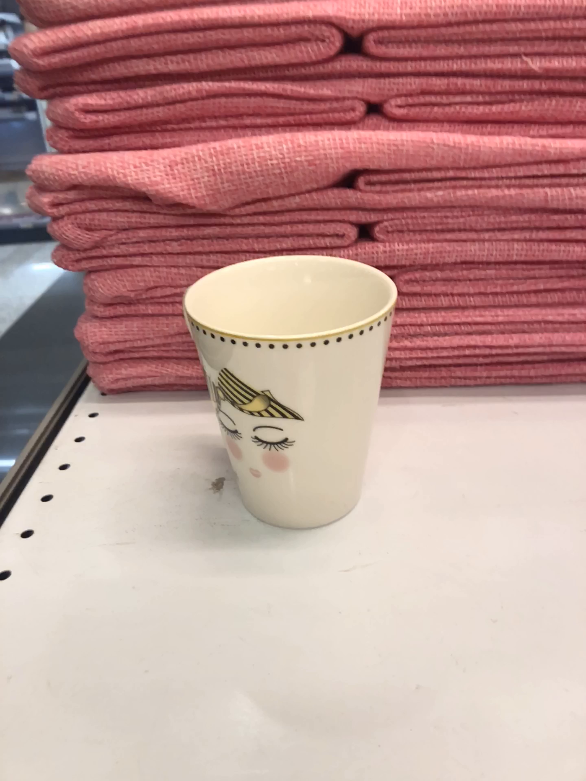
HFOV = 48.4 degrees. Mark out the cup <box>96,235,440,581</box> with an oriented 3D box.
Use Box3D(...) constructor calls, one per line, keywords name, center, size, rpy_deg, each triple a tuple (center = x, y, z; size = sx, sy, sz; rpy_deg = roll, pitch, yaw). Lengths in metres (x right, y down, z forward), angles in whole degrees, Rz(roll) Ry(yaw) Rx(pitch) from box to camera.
Box3D(name="cup", center=(-0.006, -0.002, 0.292), size=(0.110, 0.099, 0.090), rpy_deg=(17, 36, 34))
